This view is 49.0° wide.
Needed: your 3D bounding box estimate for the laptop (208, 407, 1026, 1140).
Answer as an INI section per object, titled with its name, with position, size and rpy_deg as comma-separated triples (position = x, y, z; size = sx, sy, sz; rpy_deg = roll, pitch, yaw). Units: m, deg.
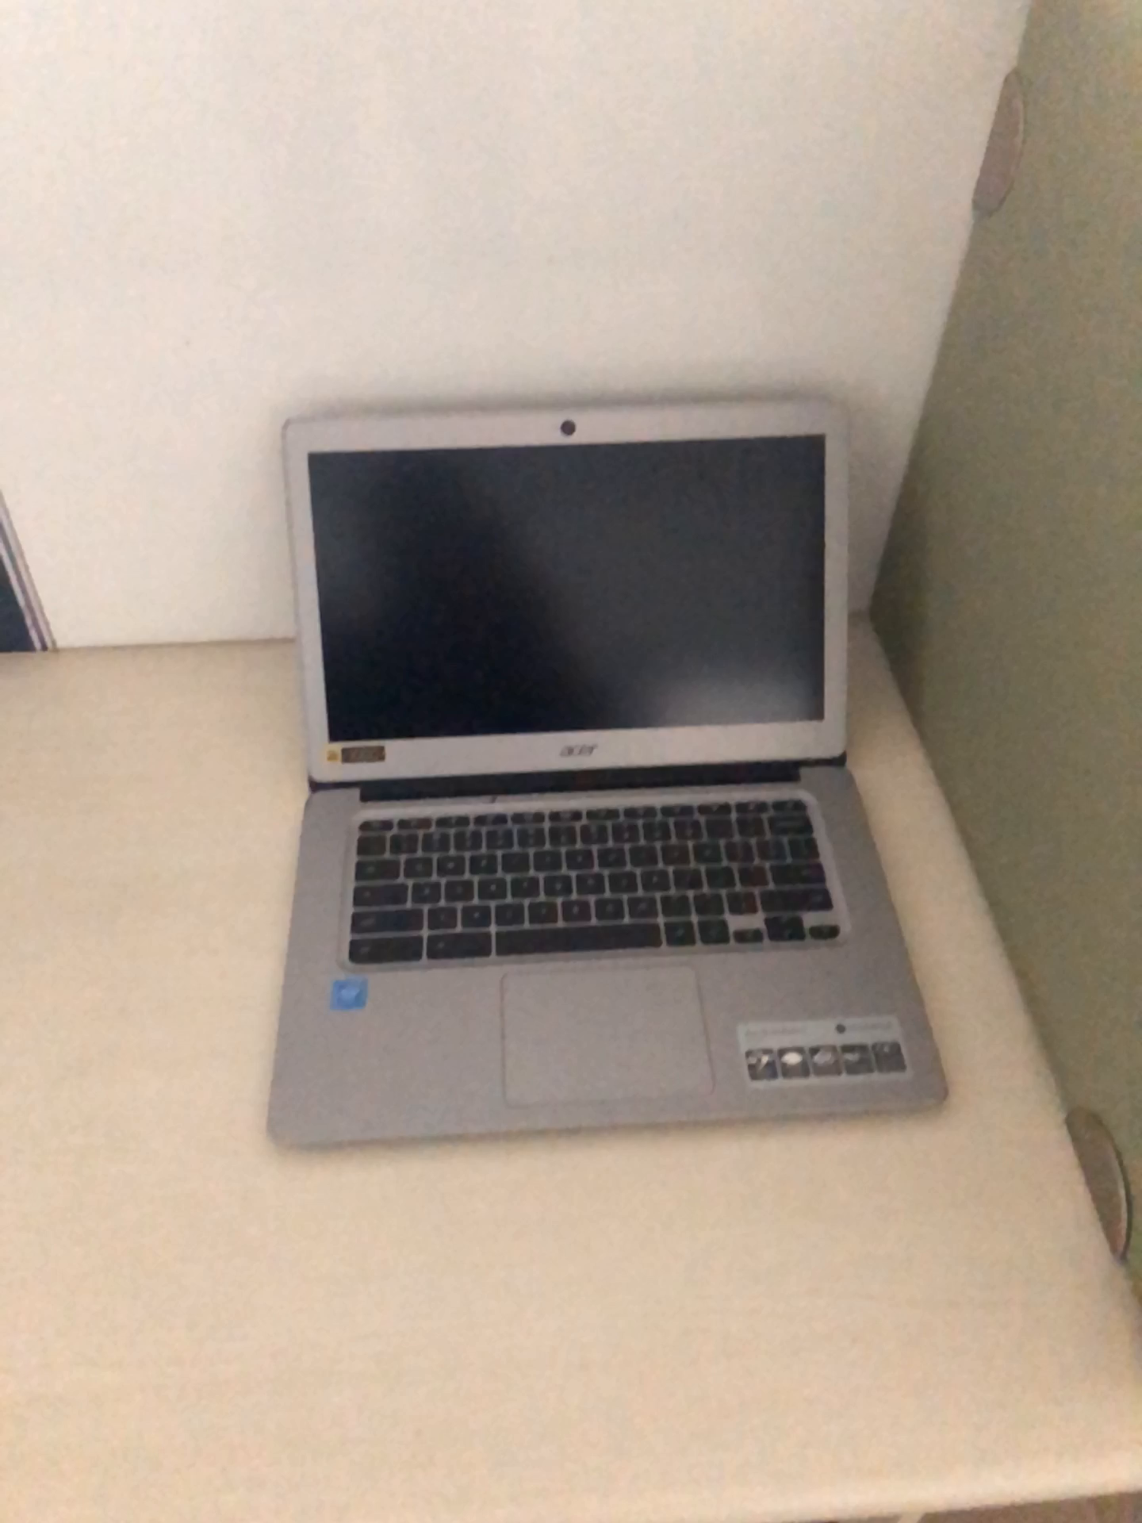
[laptop]
position = 0.007, -0.016, 0.676
size = 0.322, 0.168, 0.368
rpy_deg = -2, 47, -4
